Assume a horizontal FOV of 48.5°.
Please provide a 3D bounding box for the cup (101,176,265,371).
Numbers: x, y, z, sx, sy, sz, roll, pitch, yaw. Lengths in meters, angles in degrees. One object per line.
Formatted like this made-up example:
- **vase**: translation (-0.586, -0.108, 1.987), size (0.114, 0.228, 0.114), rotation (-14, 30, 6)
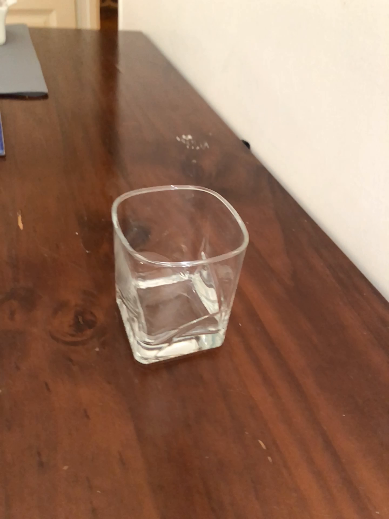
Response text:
- **cup**: translation (-0.015, 0.006, 0.281), size (0.076, 0.087, 0.078), rotation (6, 40, -5)
